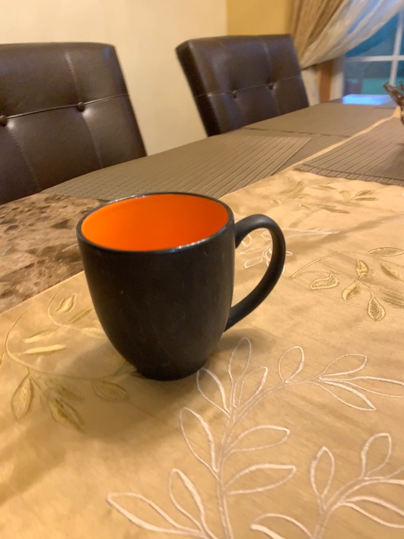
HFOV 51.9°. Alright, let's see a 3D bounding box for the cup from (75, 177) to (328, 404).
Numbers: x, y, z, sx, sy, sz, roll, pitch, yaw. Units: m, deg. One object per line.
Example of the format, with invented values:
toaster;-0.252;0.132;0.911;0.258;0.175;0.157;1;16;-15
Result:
cup;-0.006;0.004;0.272;0.132;0.087;0.100;-10;29;-12
